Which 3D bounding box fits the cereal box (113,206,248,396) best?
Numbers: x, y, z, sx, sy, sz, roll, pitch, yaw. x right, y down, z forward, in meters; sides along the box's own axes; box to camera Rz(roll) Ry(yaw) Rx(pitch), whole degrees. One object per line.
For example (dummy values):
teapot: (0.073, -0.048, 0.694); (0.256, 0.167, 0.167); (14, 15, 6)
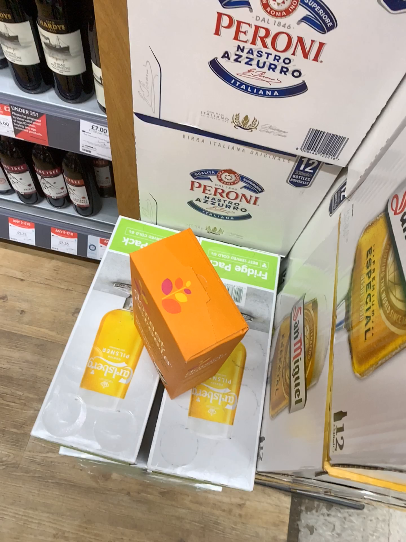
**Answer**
cereal box: (-0.033, 0.045, 0.446); (0.070, 0.199, 0.120); (-23, 69, -17)
